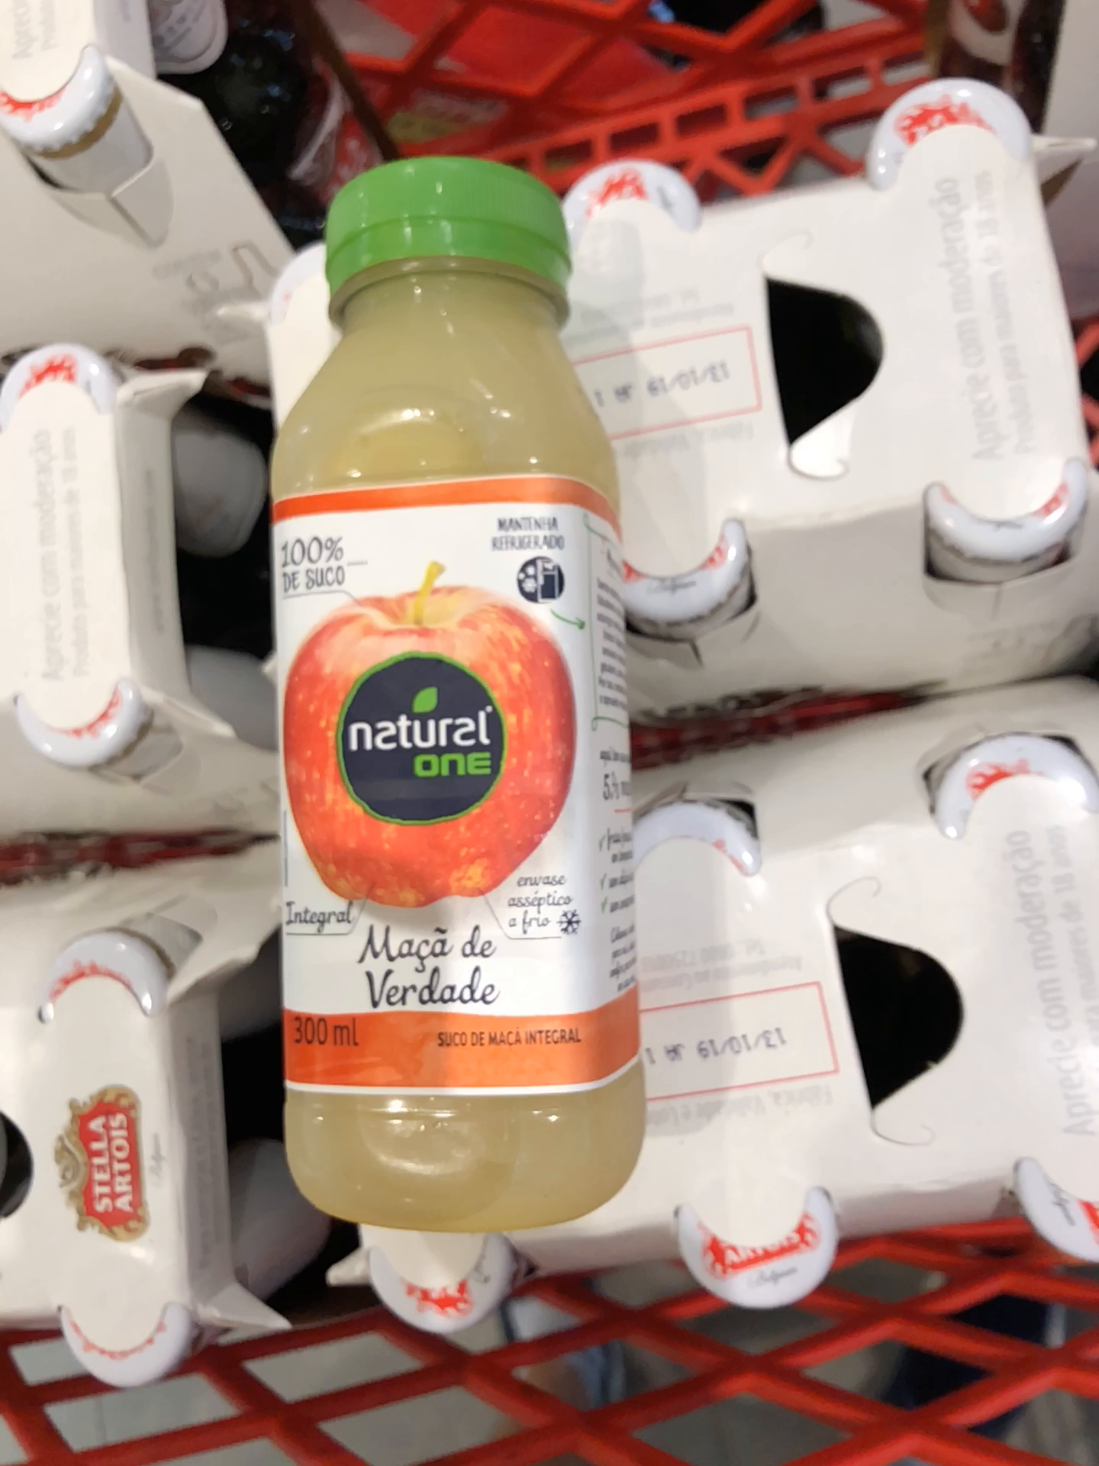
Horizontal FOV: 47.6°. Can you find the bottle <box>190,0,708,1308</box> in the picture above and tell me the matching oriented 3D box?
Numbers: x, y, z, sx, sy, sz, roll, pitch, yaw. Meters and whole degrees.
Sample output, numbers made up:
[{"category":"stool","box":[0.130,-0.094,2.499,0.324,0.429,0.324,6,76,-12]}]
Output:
[{"category":"bottle","box":[-0.012,-0.018,0.190,0.060,0.060,0.180,-2,84,13]}]
